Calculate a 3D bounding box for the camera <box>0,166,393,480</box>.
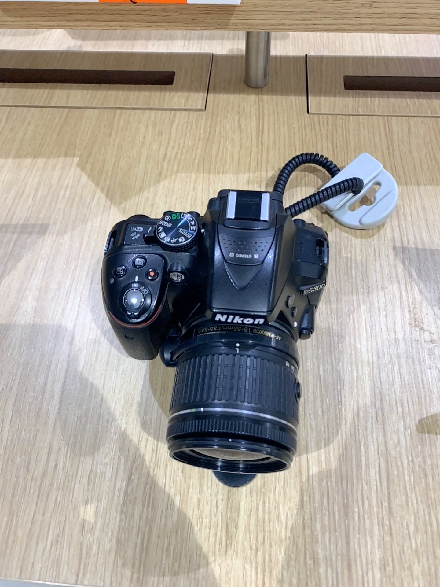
[{"bbox_3d":[-0.006,0.014,0.212,0.130,0.080,0.120,1,60,3],"label":"camera"}]
